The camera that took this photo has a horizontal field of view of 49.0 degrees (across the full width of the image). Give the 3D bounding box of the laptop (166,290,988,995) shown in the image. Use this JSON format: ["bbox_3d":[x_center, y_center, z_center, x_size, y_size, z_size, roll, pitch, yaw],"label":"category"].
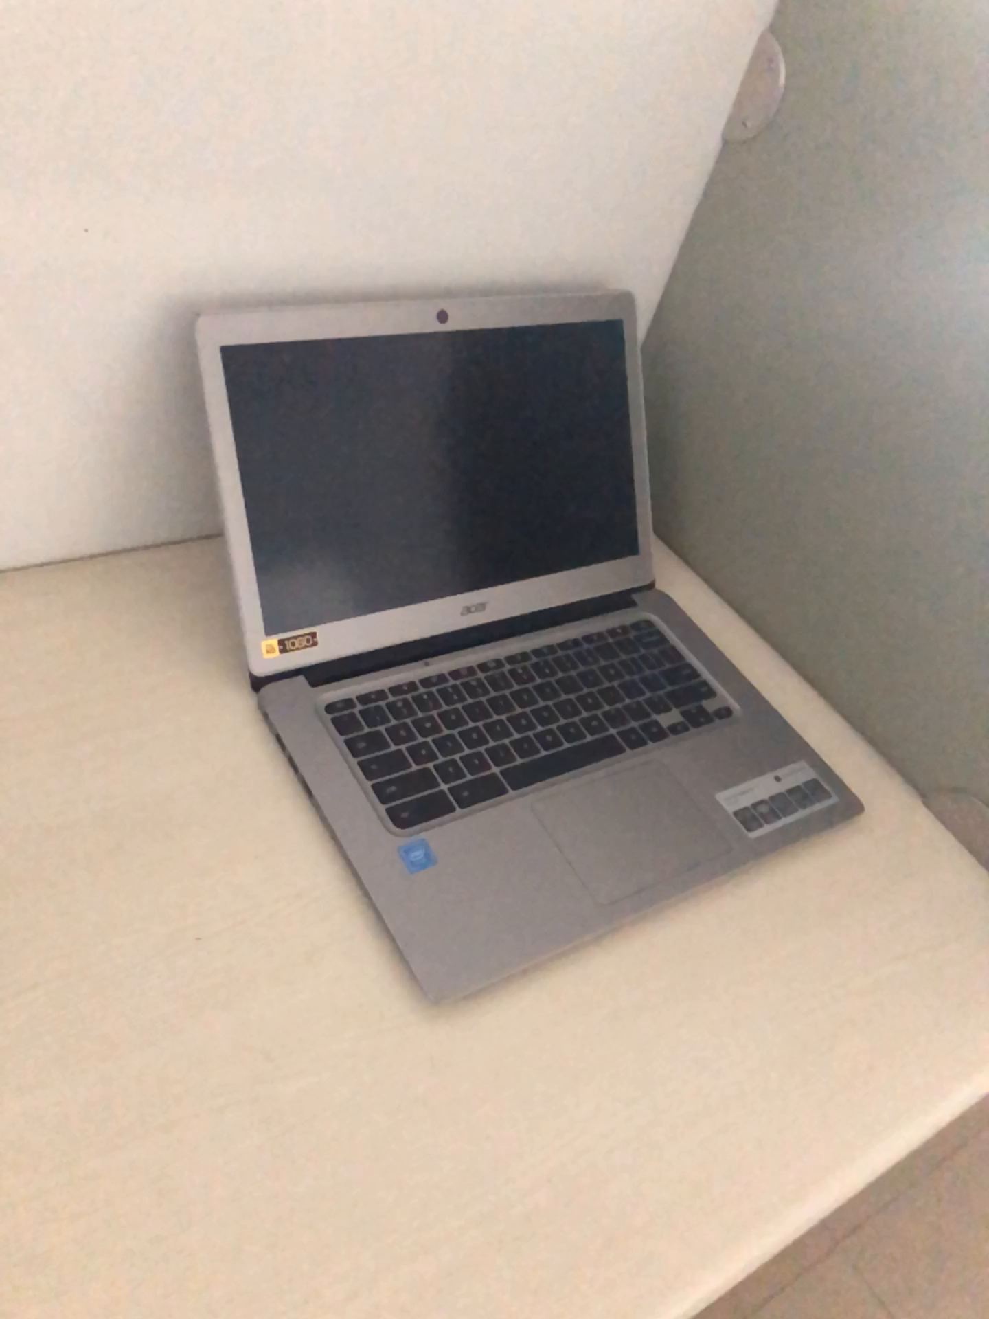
[{"bbox_3d":[0.028,-0.052,0.662,0.323,0.168,0.366,-14,51,-33],"label":"laptop"}]
